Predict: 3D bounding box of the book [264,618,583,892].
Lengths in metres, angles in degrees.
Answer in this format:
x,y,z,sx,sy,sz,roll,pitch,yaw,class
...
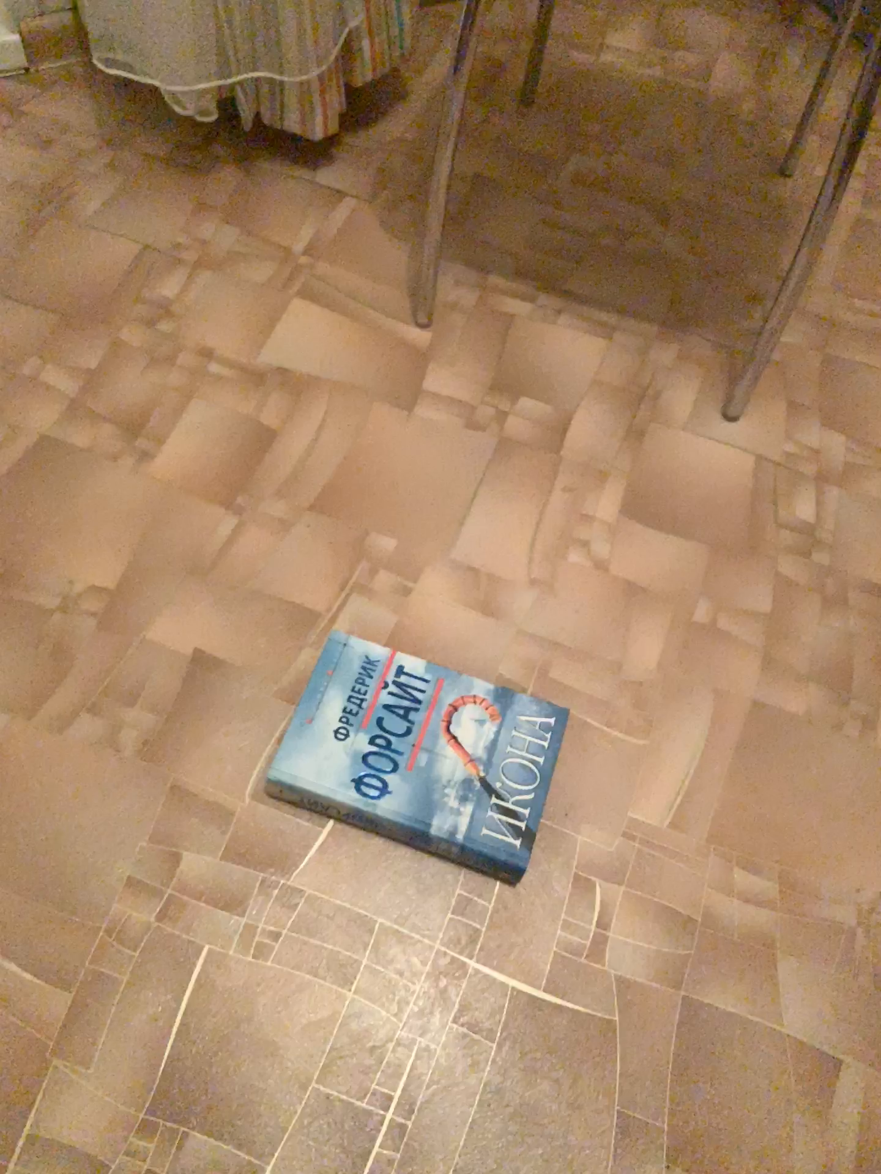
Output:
x,y,z,sx,sy,sz,roll,pitch,yaw,class
-0.011,0.138,0.764,0.223,0.056,0.153,19,61,6,book
